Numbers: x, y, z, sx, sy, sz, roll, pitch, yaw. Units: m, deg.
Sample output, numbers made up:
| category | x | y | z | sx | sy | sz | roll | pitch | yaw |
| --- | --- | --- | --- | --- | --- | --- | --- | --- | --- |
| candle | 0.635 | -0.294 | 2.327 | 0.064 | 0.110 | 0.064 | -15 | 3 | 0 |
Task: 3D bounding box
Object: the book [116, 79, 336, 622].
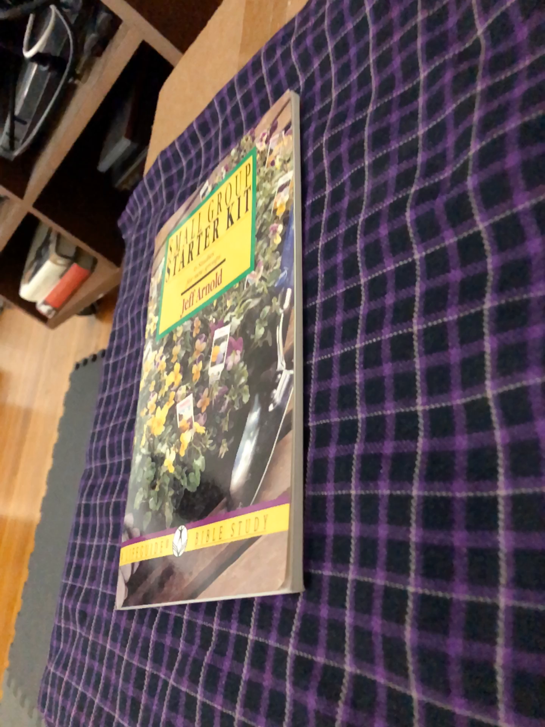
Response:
| category | x | y | z | sx | sy | sz | roll | pitch | yaw |
| --- | --- | --- | --- | --- | --- | --- | --- | --- | --- |
| book | -0.026 | -0.001 | 0.282 | 0.150 | 0.010 | 0.220 | -31 | 51 | 49 |
